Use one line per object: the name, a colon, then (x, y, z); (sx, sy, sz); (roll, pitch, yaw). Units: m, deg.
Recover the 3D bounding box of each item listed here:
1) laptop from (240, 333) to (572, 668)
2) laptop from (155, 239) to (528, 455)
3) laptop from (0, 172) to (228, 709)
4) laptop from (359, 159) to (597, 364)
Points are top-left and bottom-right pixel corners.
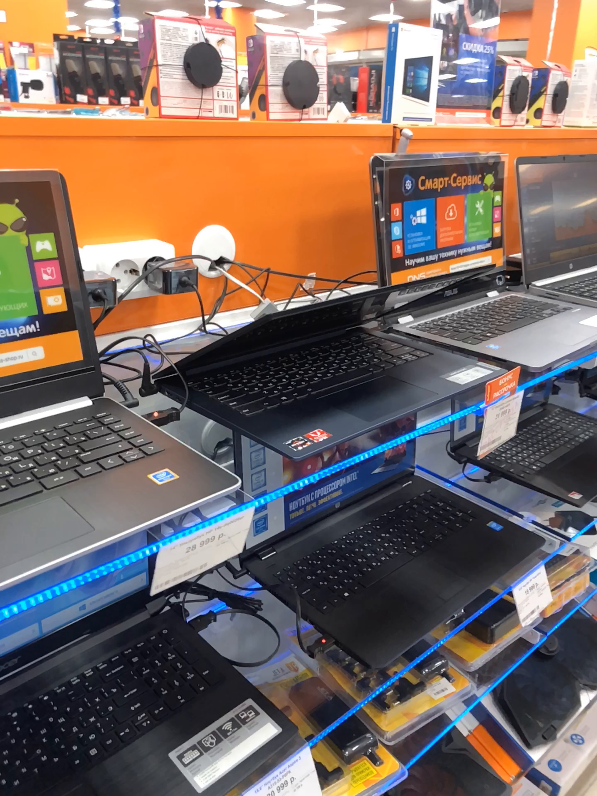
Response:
laptop: (0.139, 0.097, 0.874); (0.355, 0.227, 0.258); (-19, 32, -38)
laptop: (0.046, -0.074, 0.659); (0.303, 0.108, 0.203); (-19, 30, -37)
laptop: (-0.240, -0.032, 0.434); (0.303, 0.200, 0.250); (-18, 30, -39)
laptop: (0.295, -0.208, 0.890); (0.257, 0.202, 0.331); (21, 29, 39)
